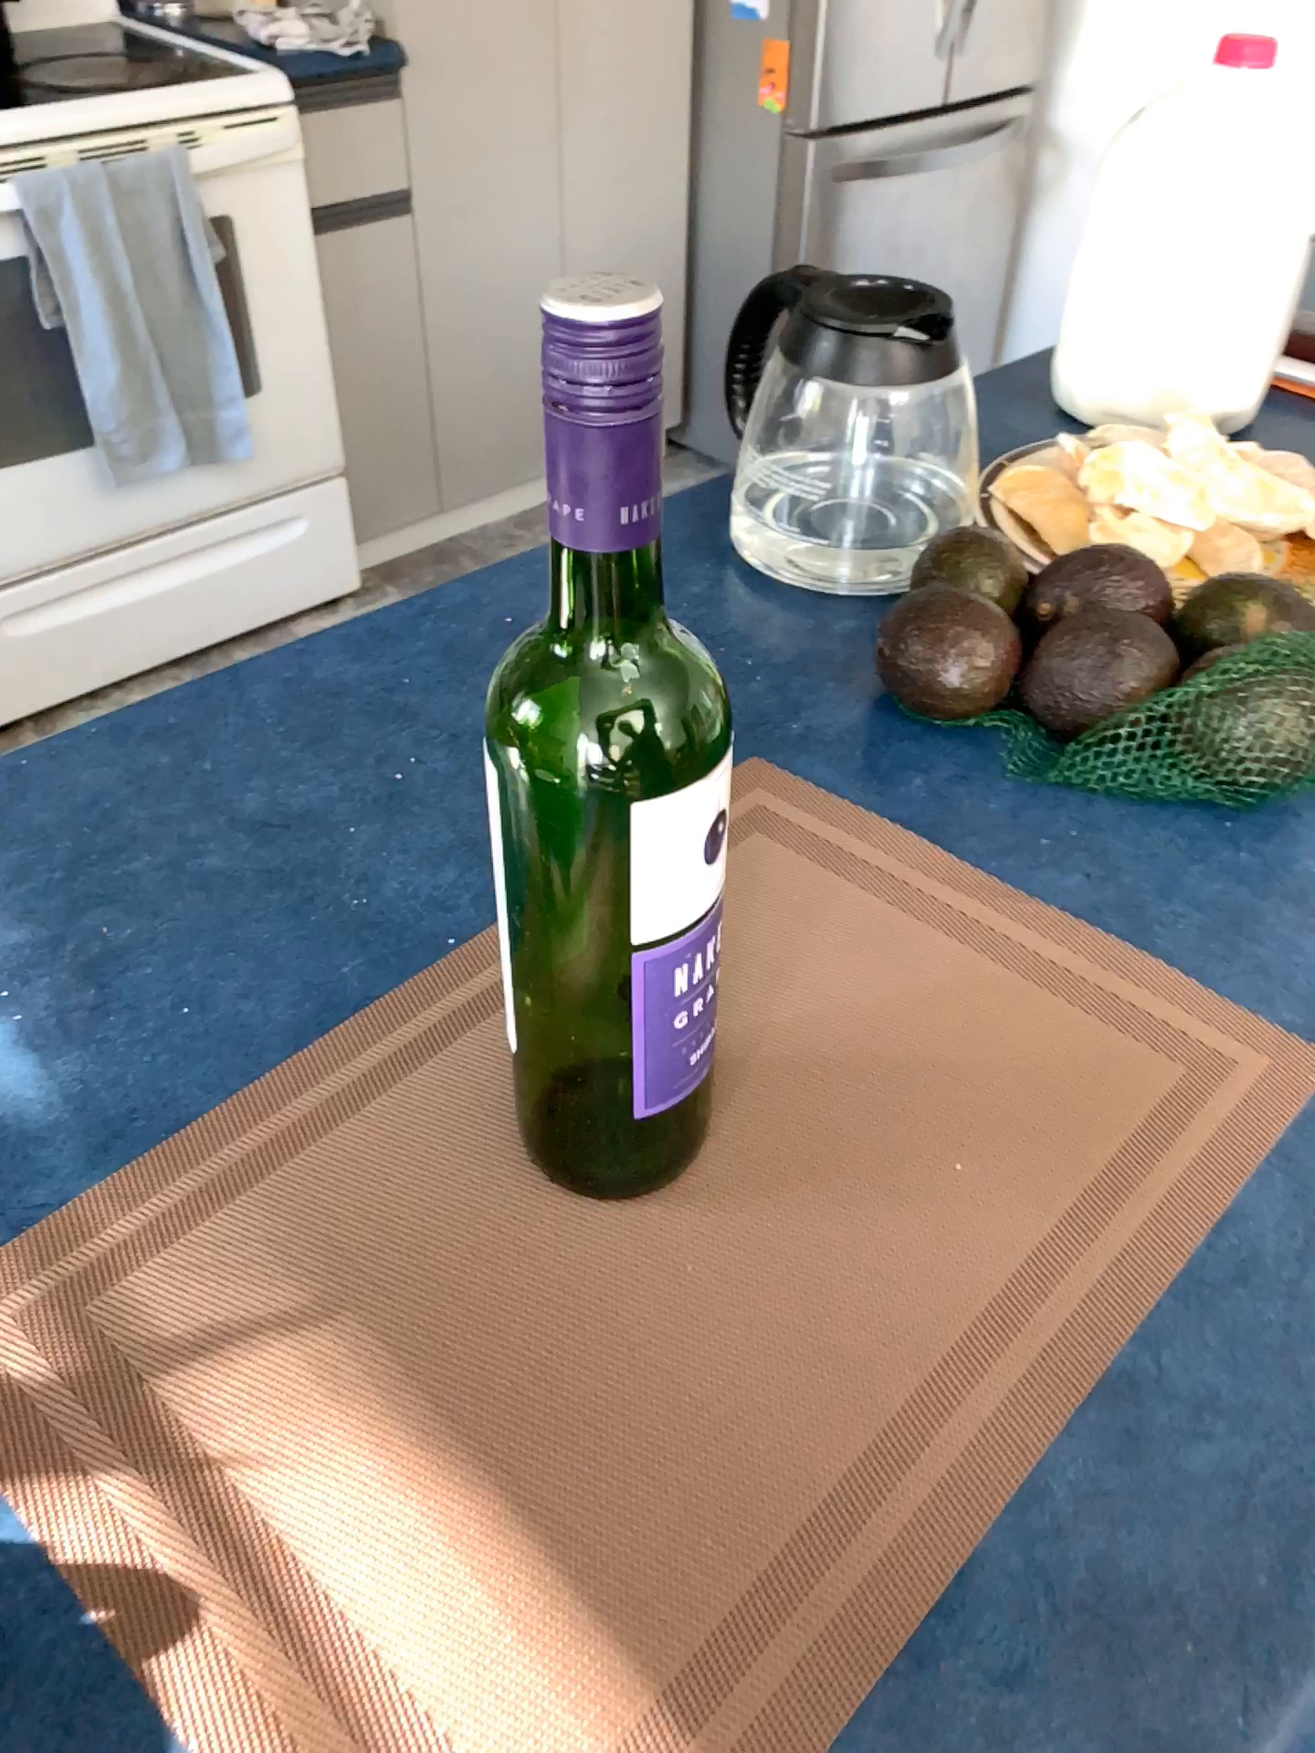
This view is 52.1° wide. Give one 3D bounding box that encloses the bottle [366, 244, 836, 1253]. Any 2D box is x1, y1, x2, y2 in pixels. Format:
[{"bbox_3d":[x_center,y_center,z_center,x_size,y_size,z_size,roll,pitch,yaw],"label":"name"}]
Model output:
[{"bbox_3d":[-0.012,-0.018,0.398,0.080,0.287,0.081,1,40,-1],"label":"bottle"}]
